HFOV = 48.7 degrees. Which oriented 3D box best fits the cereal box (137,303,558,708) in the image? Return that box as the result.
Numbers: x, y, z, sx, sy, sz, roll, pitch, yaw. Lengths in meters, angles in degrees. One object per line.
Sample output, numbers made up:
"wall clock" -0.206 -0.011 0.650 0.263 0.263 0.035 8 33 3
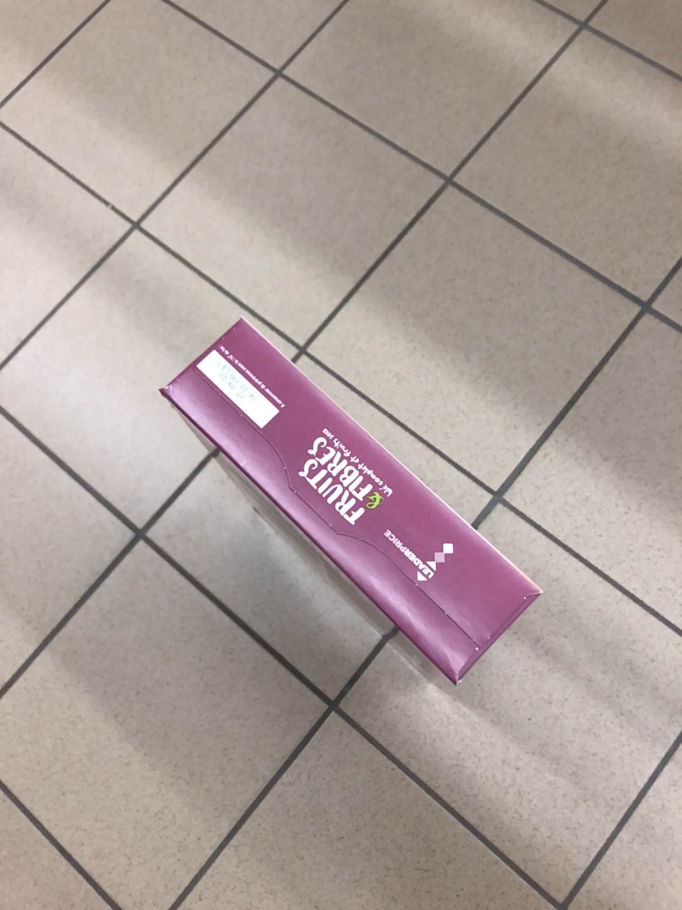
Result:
"cereal box" 0.008 0.052 0.466 0.210 0.260 0.060 43 81 15
